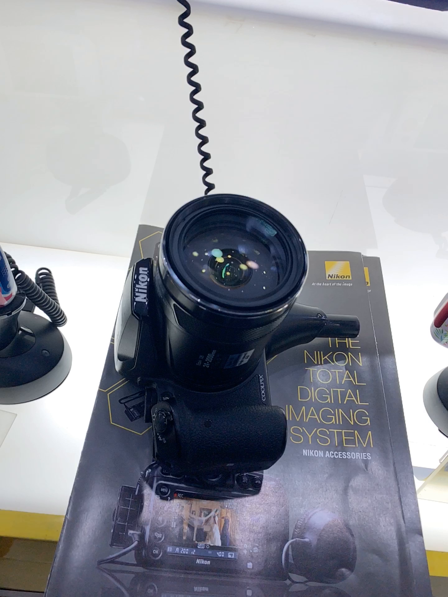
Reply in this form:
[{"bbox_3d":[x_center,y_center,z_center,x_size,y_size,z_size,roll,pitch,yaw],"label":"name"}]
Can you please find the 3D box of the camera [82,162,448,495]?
[{"bbox_3d":[0.032,0.023,0.263,0.200,0.100,0.140,6,52,-14],"label":"camera"}]
